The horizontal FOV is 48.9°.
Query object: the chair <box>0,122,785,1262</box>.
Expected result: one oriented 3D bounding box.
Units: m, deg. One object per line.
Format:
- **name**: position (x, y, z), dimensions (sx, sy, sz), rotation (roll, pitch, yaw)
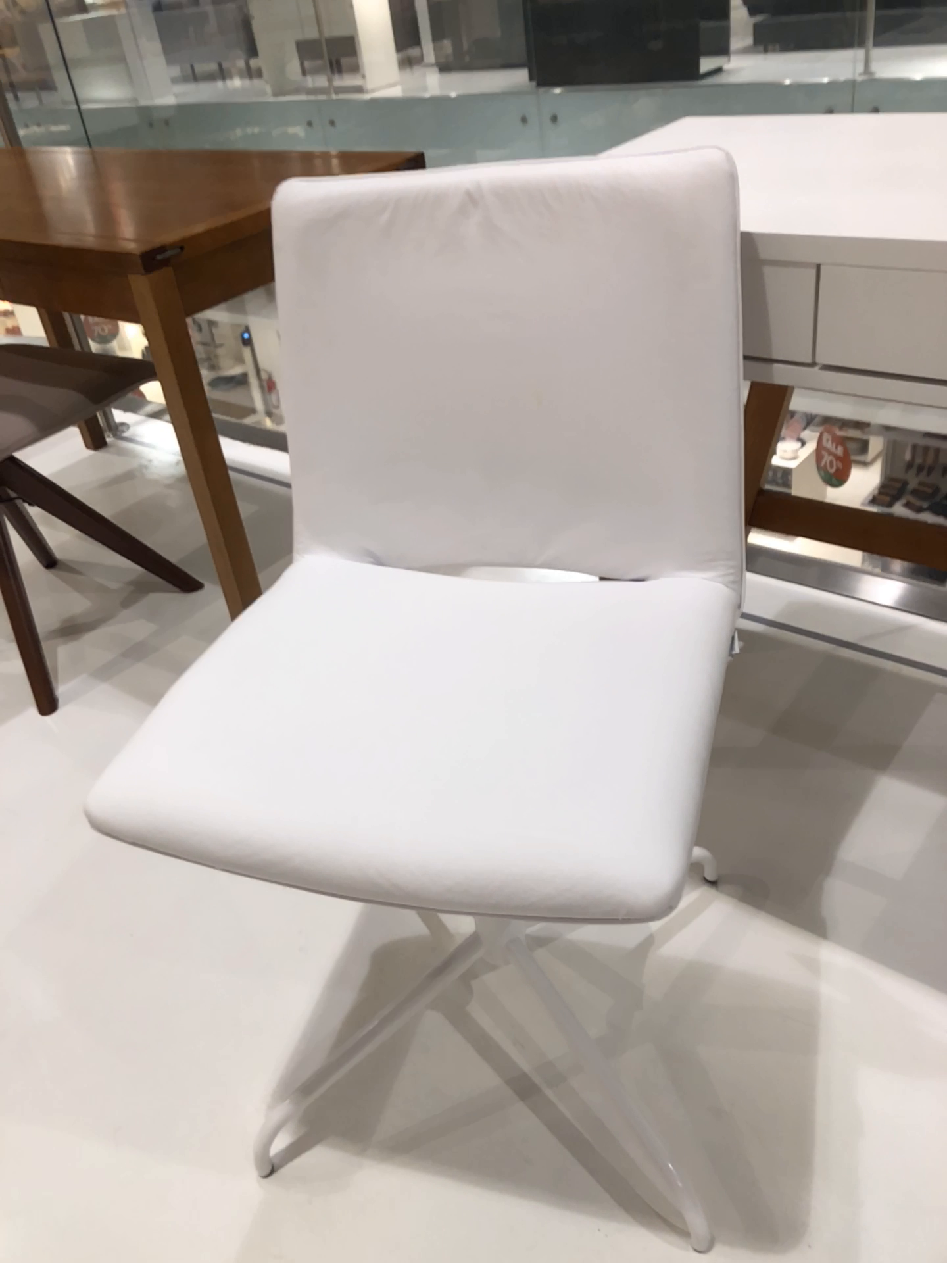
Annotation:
- **chair**: position (-0.016, 0.072, 0.938), dimensions (0.510, 0.844, 0.503), rotation (4, 35, 18)
